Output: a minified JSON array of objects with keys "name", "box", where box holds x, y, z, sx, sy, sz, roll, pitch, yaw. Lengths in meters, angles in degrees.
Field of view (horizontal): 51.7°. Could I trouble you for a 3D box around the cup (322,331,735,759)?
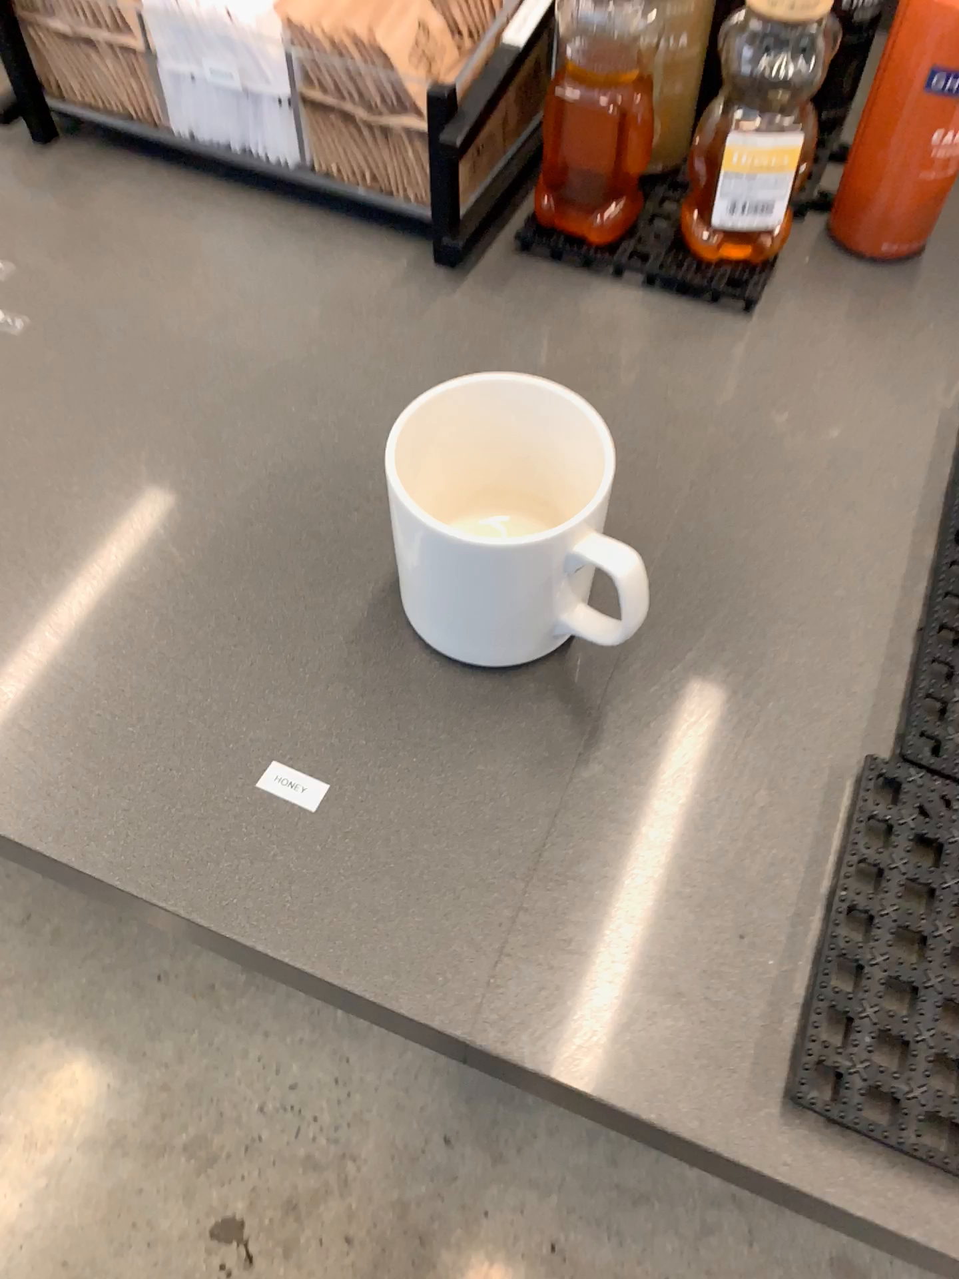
[{"name":"cup","box":[0.017,-0.038,0.396,0.120,0.090,0.090,36,63,21]}]
